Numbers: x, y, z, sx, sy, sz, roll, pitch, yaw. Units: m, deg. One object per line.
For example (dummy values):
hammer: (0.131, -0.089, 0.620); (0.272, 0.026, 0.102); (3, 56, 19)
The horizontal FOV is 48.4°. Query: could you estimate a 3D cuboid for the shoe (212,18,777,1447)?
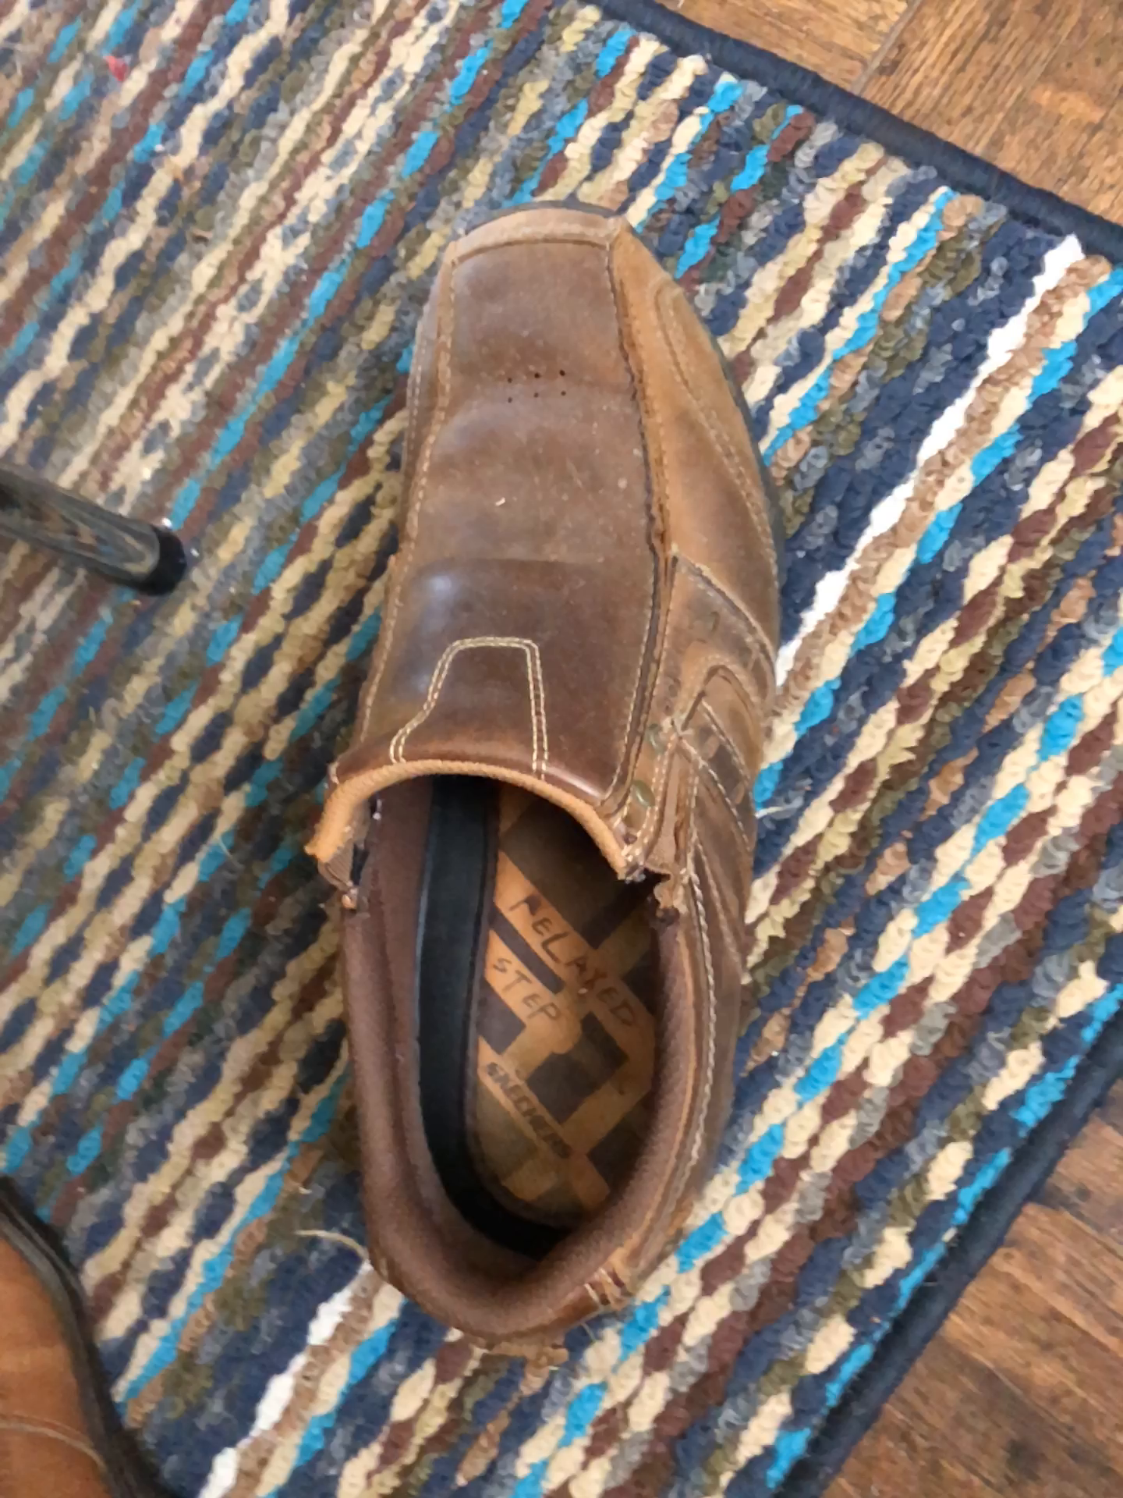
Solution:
shoe: (-0.004, -0.007, 0.302); (0.100, 0.100, 0.280); (0, 81, 15)
